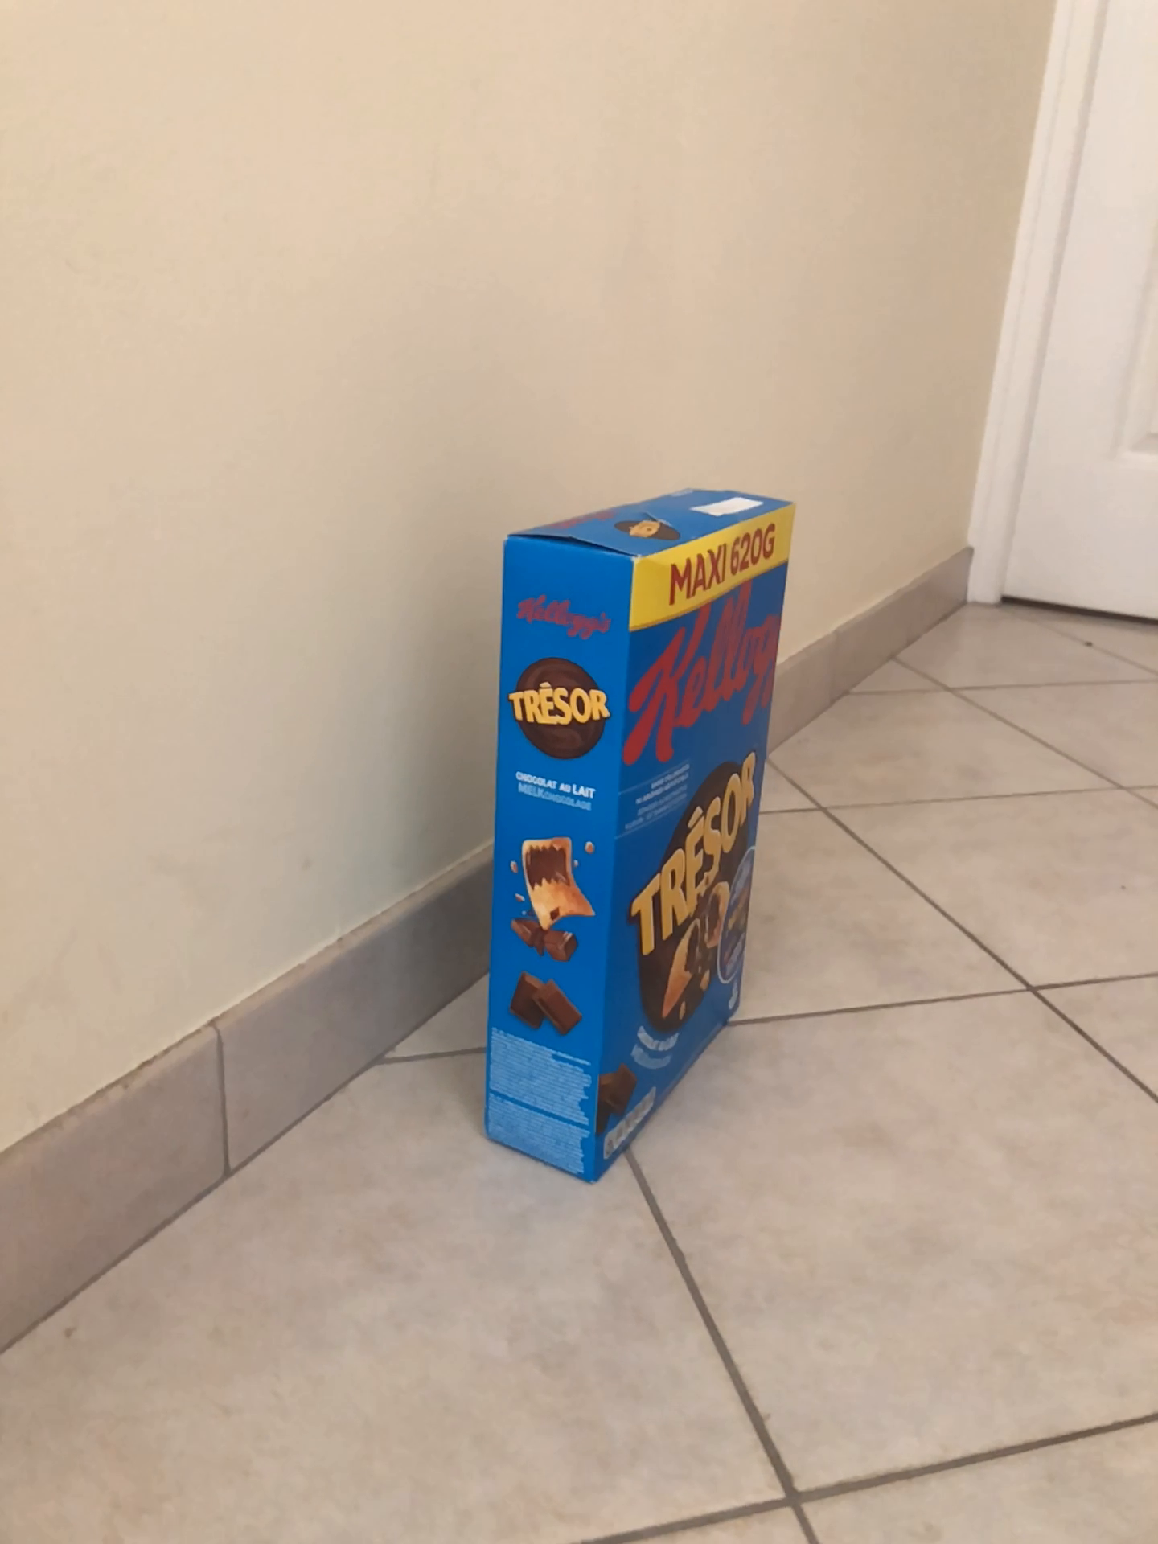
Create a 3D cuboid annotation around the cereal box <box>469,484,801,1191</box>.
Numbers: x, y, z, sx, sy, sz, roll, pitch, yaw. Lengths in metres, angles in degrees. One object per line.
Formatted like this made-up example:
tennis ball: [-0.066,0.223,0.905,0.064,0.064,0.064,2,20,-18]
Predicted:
cereal box: [0.030,0.021,0.639,0.070,0.299,0.191,13,22,25]
